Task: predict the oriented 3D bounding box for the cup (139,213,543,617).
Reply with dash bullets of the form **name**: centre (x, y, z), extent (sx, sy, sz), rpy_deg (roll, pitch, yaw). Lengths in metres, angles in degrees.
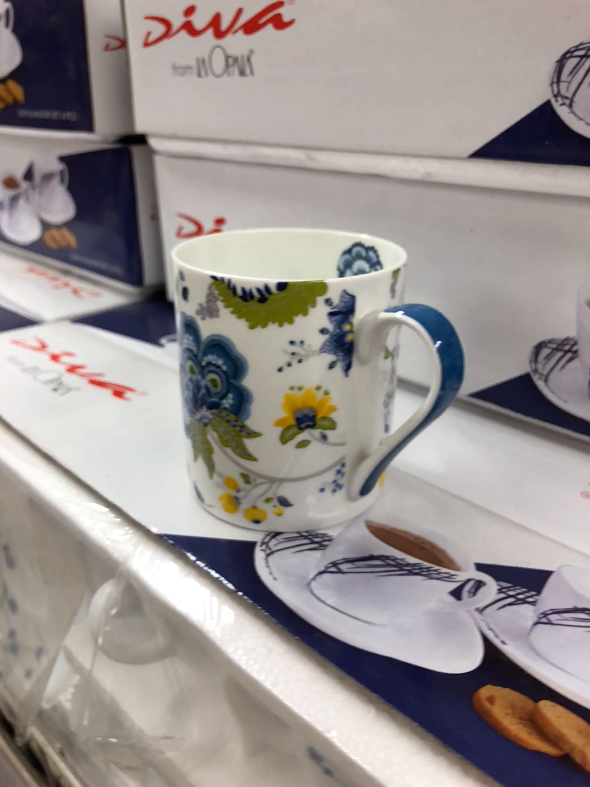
- **cup**: centre (0.013, -0.003, 0.221), extent (0.100, 0.089, 0.070), rpy_deg (18, 31, 34)
